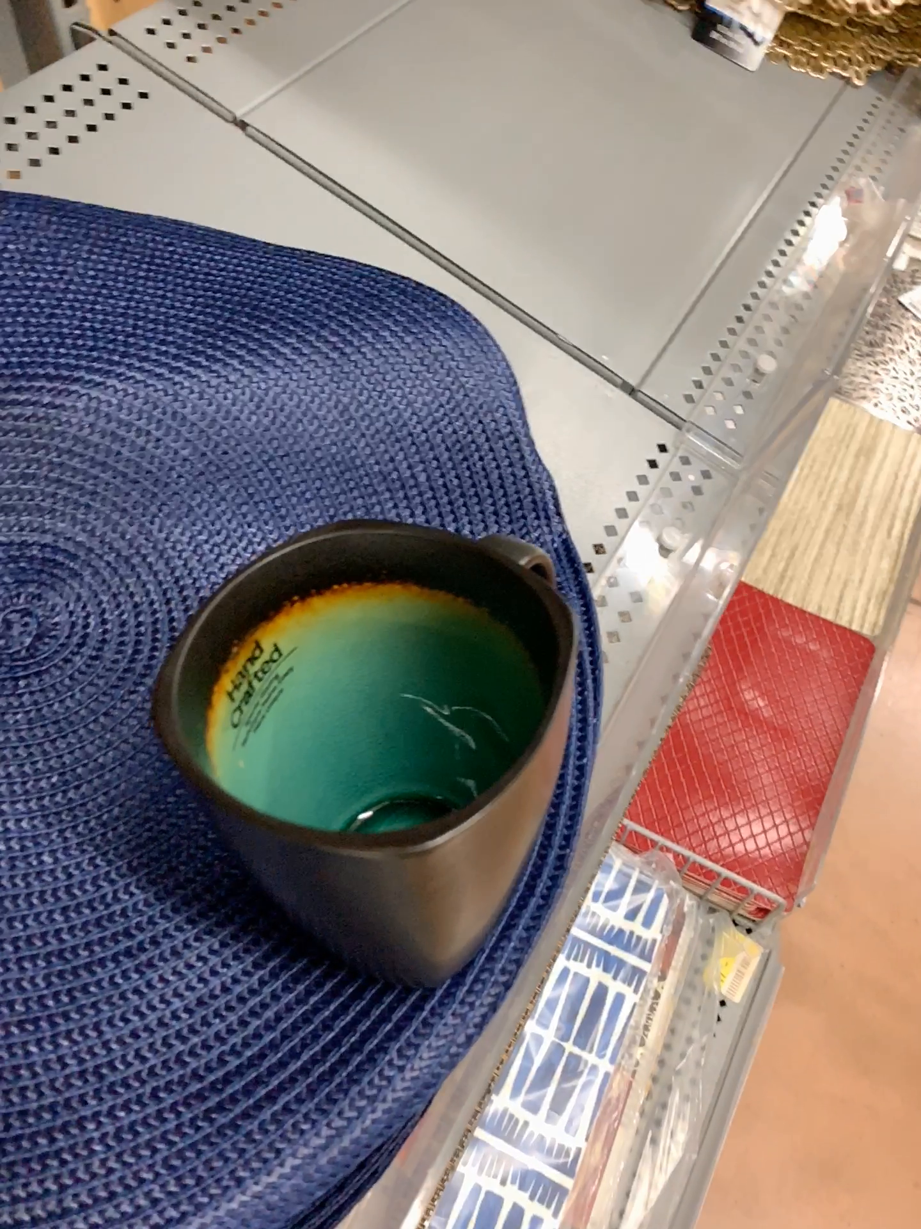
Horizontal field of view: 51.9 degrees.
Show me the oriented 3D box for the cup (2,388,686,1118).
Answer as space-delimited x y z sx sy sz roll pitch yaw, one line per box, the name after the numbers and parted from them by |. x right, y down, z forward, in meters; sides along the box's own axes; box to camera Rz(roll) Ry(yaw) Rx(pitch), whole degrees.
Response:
-0.018 0.034 0.252 0.090 0.110 0.130 27 57 22 | cup
